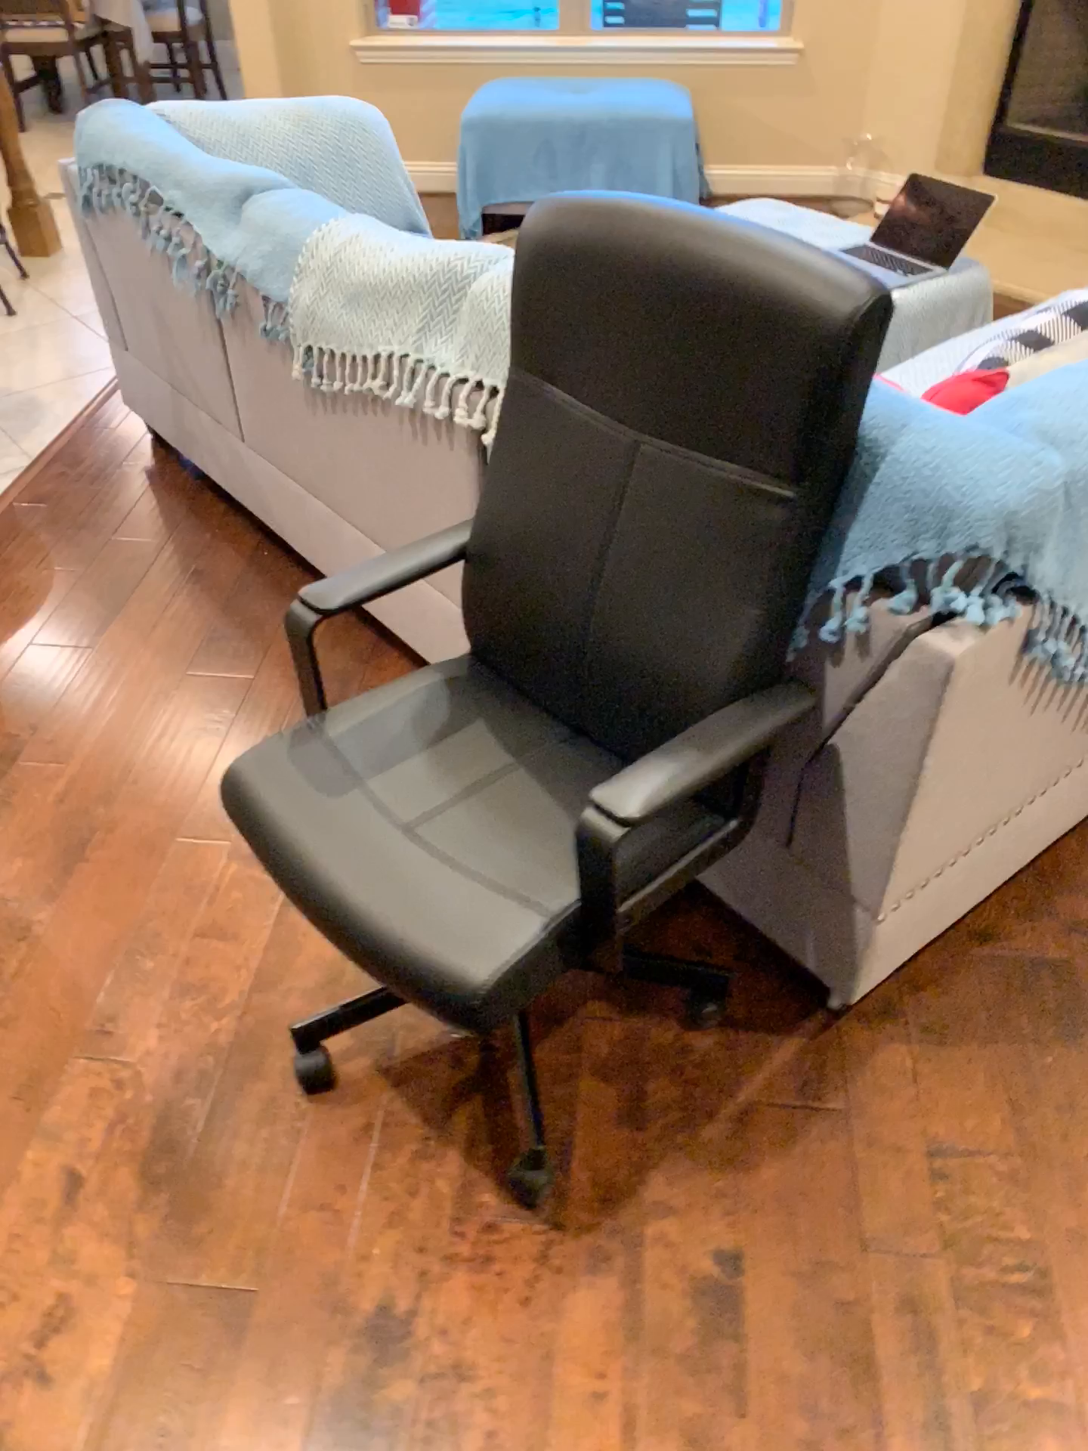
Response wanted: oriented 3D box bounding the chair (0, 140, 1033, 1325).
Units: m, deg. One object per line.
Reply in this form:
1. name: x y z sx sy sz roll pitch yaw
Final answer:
1. chair: -0.068 -0.025 1.376 0.760 1.037 0.737 -31 49 -30
